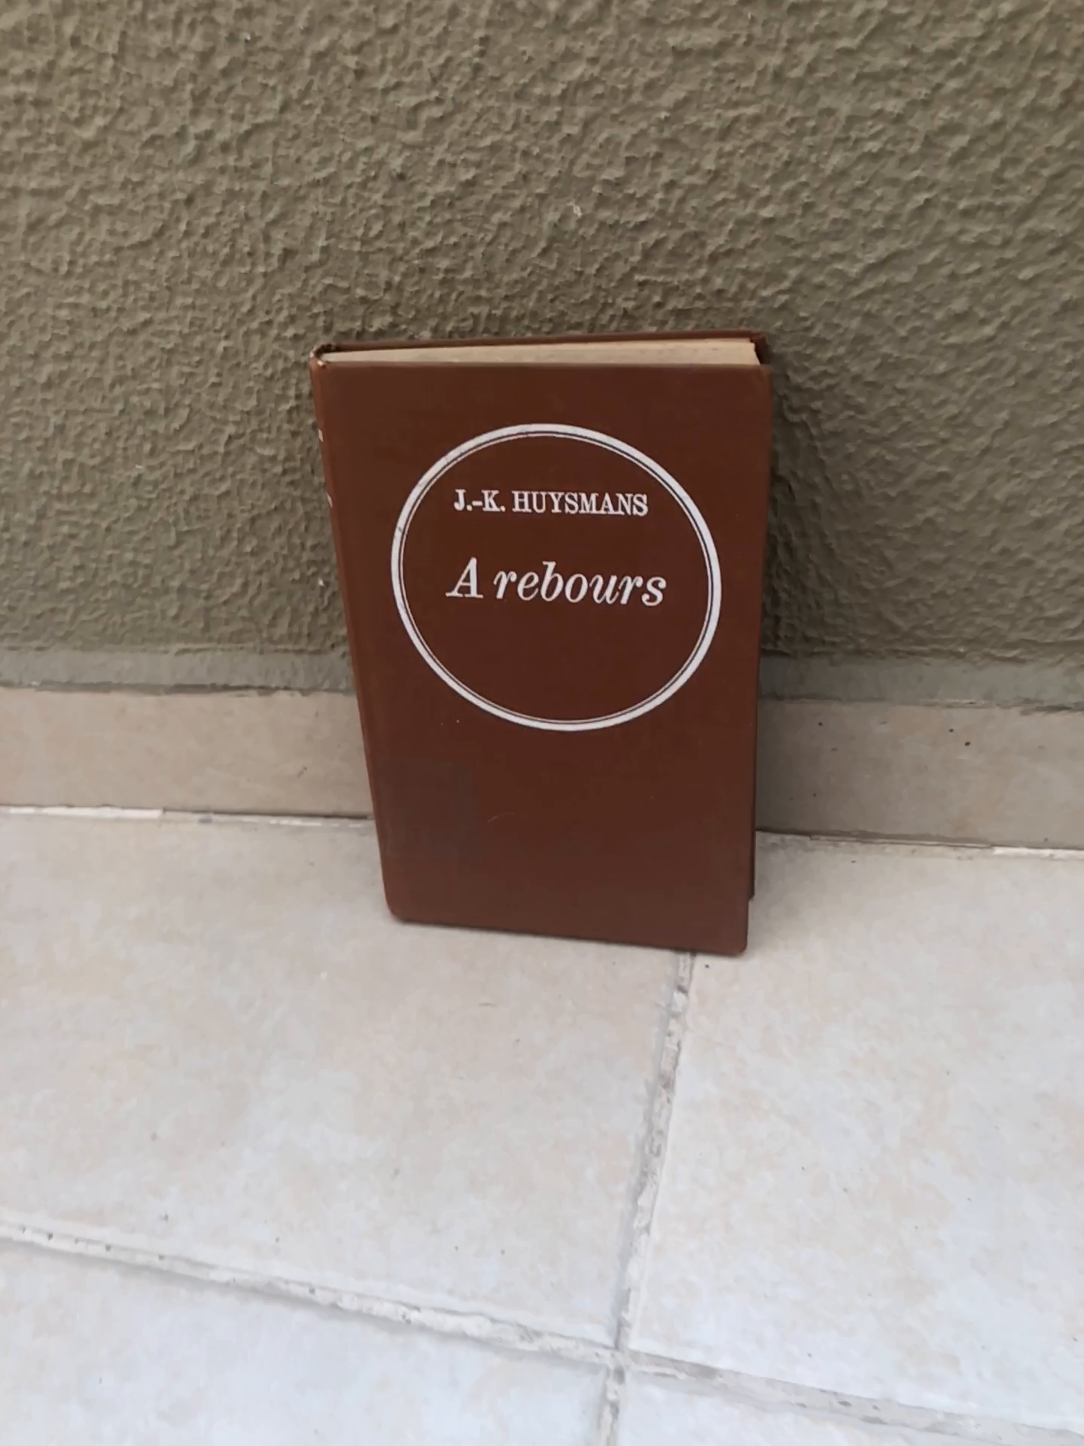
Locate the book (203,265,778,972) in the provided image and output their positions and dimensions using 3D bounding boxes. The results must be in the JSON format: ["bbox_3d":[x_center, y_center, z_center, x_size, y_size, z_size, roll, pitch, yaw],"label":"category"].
[{"bbox_3d":[-0.007,-0.026,0.372,0.150,0.209,0.040,3,29,14],"label":"book"}]
